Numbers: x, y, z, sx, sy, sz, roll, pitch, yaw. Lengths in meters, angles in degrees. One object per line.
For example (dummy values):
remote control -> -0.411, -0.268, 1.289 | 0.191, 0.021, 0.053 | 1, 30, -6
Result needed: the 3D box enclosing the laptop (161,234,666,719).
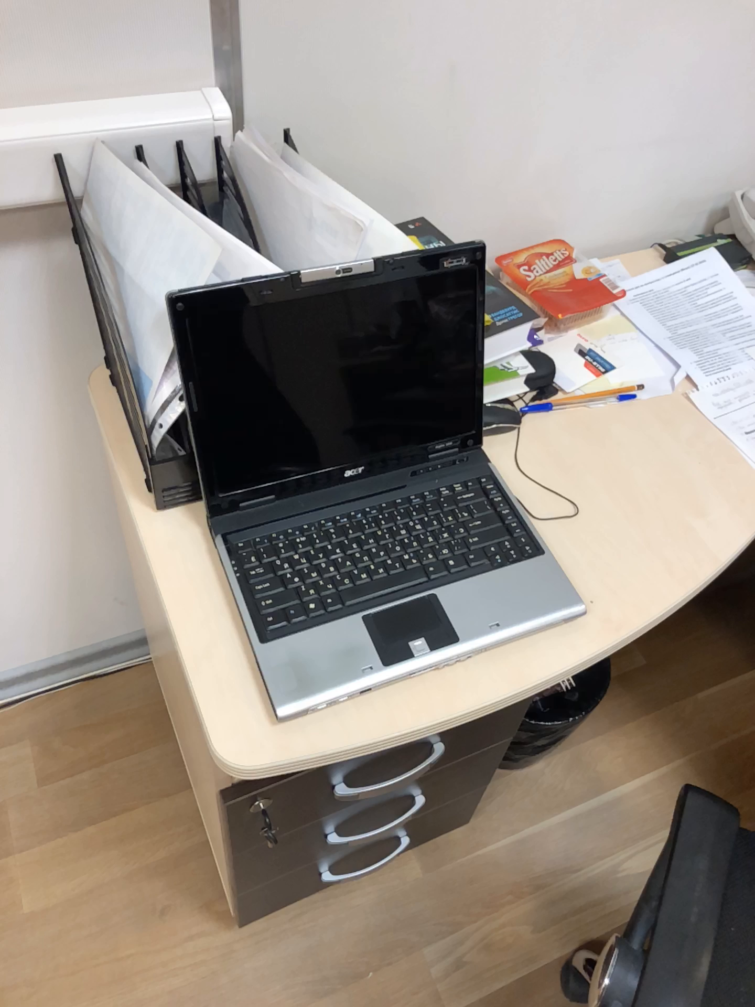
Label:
laptop -> 0.010, -0.042, 0.785 | 0.326, 0.219, 0.324 | -15, 54, -18
